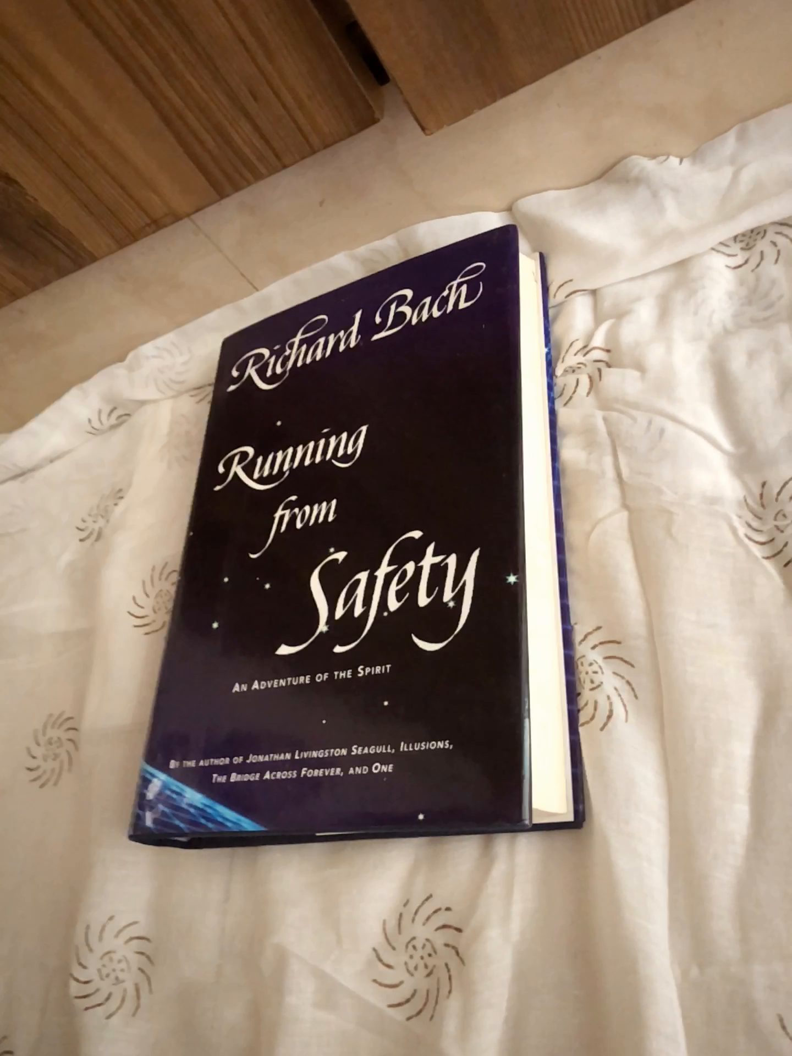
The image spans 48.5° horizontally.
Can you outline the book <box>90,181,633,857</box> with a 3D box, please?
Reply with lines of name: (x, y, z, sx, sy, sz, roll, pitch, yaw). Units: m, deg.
book: (-0.010, -0.010, 0.341, 0.171, 0.040, 0.250, -11, 56, 22)
